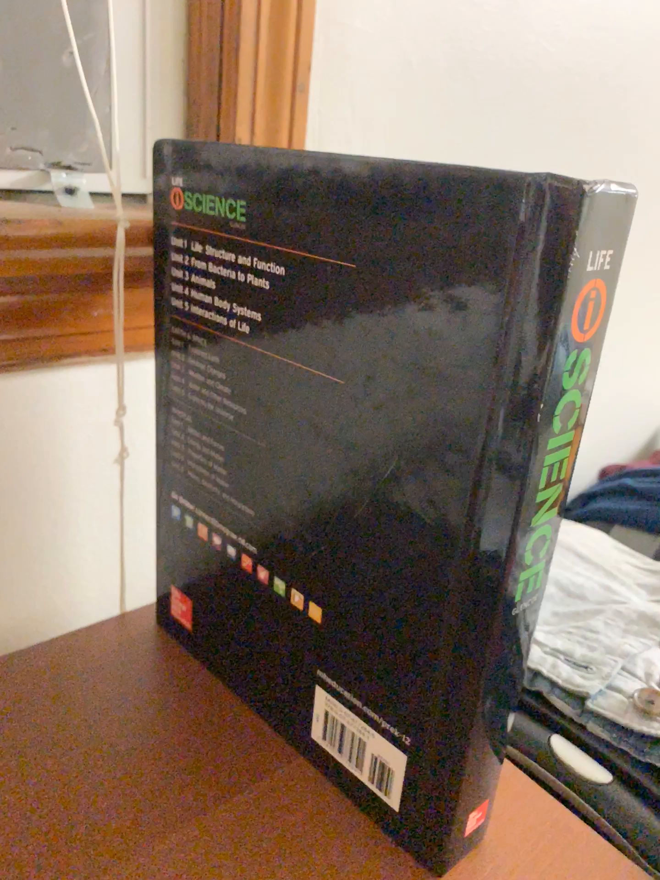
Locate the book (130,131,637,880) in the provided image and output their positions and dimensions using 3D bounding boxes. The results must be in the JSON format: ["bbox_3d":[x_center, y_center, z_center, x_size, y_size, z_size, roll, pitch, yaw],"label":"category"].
[{"bbox_3d":[-0.012,0.017,0.324,0.051,0.286,0.227,-15,29,-42],"label":"book"}]
